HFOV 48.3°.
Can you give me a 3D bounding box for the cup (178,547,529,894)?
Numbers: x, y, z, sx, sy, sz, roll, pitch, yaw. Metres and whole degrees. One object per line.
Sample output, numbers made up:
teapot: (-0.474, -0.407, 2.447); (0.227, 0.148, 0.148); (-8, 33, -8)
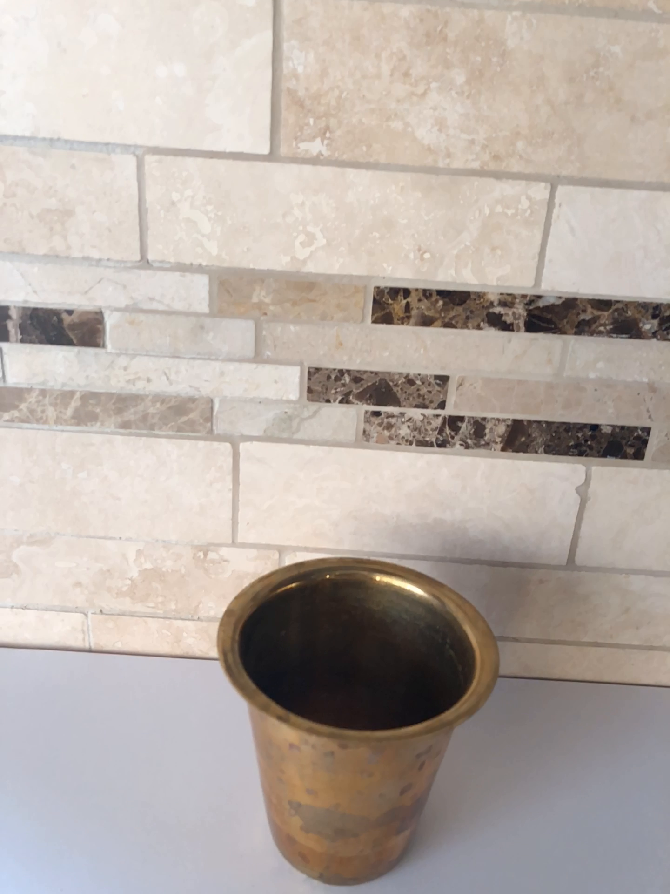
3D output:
cup: (0.001, 0.082, 0.225); (0.083, 0.071, 0.075); (2, 24, -5)
